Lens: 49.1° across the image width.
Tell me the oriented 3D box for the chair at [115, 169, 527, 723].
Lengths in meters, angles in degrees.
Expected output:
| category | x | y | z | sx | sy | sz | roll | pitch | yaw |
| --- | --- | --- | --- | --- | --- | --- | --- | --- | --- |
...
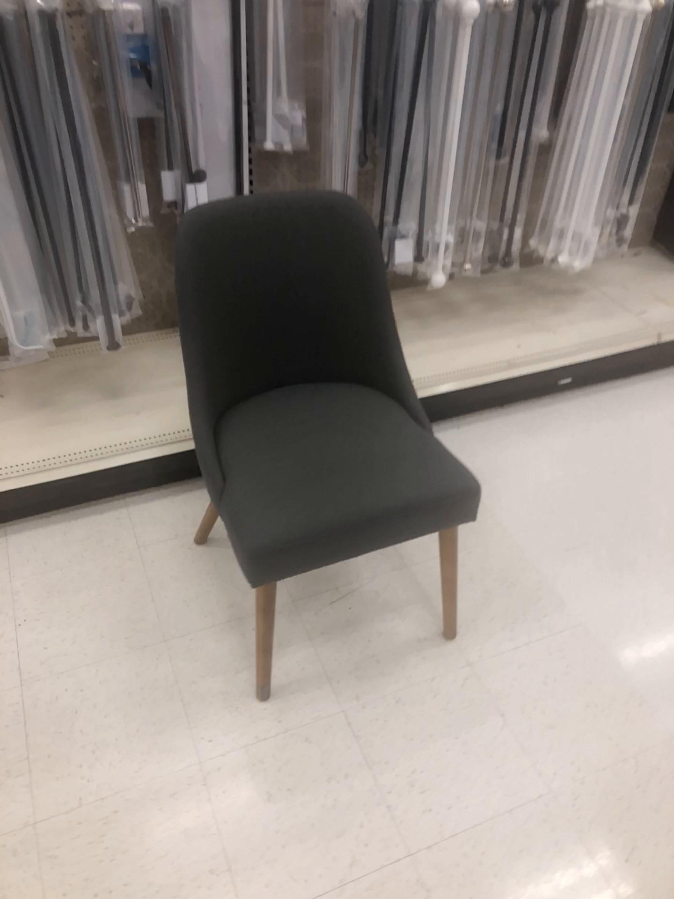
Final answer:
| category | x | y | z | sx | sy | sz | roll | pitch | yaw |
| --- | --- | --- | --- | --- | --- | --- | --- | --- | --- |
| chair | -0.074 | -0.016 | 1.507 | 0.514 | 0.859 | 0.589 | -13 | 41 | -18 |
